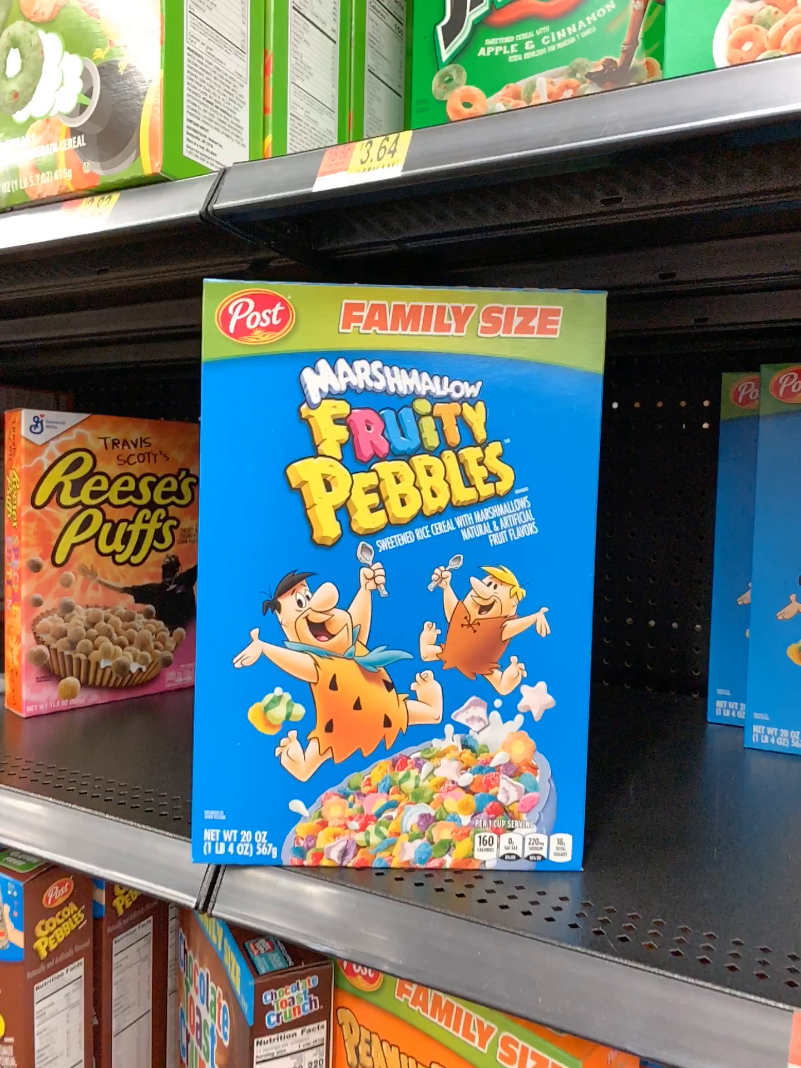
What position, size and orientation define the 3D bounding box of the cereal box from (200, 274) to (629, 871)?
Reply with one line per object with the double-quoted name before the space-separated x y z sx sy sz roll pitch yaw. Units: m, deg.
"cereal box" 0.005 0.023 0.499 0.230 0.330 0.070 2 3 -1
